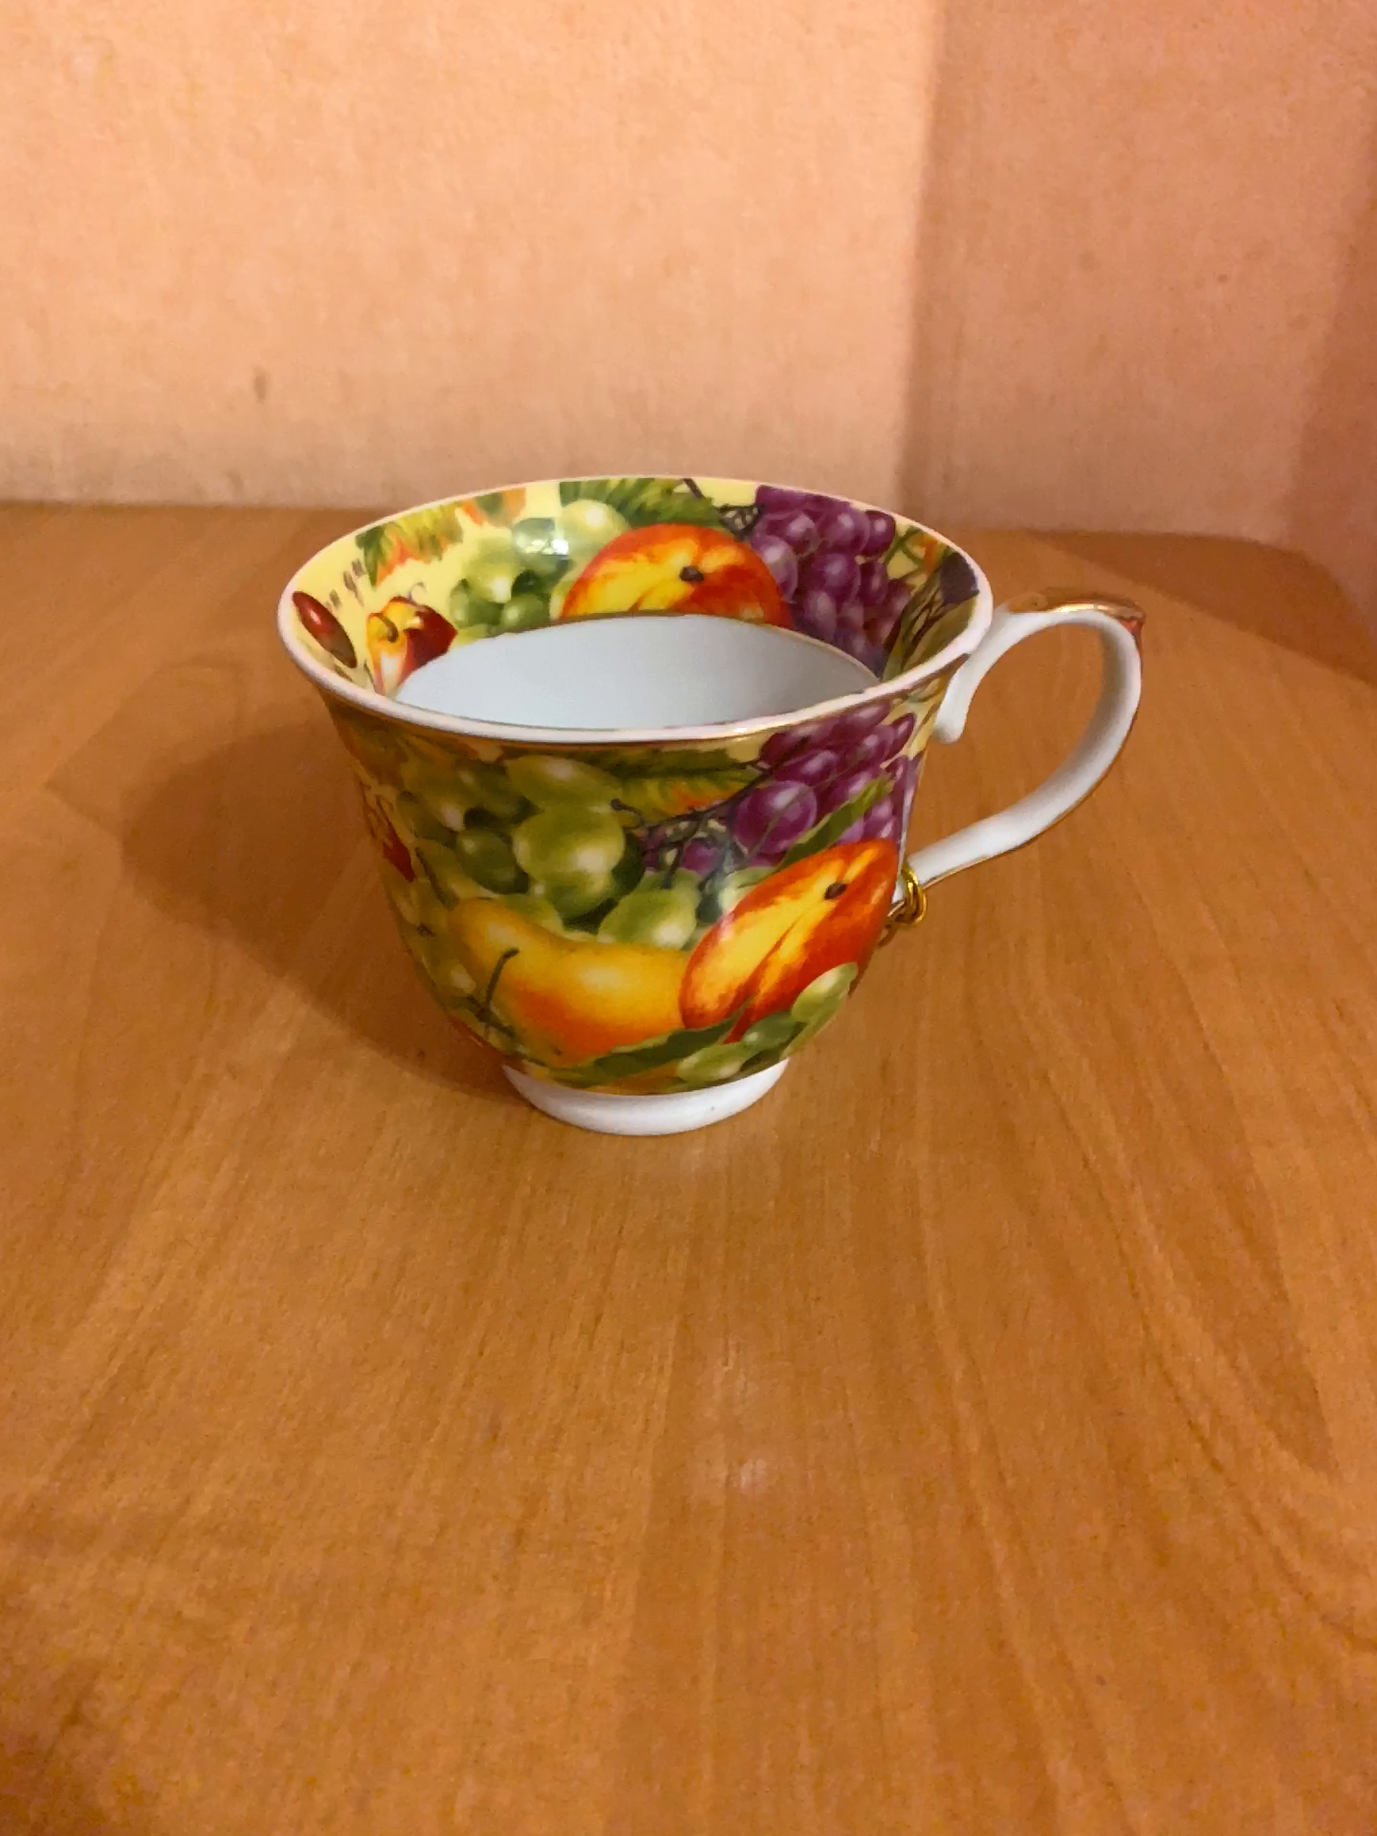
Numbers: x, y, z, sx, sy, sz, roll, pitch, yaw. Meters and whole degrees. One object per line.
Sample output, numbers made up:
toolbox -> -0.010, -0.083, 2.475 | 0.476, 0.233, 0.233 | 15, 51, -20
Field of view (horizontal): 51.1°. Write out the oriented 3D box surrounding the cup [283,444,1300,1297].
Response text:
cup -> 0.004, -0.014, 0.199 | 0.106, 0.071, 0.086 | -8, 34, -11
